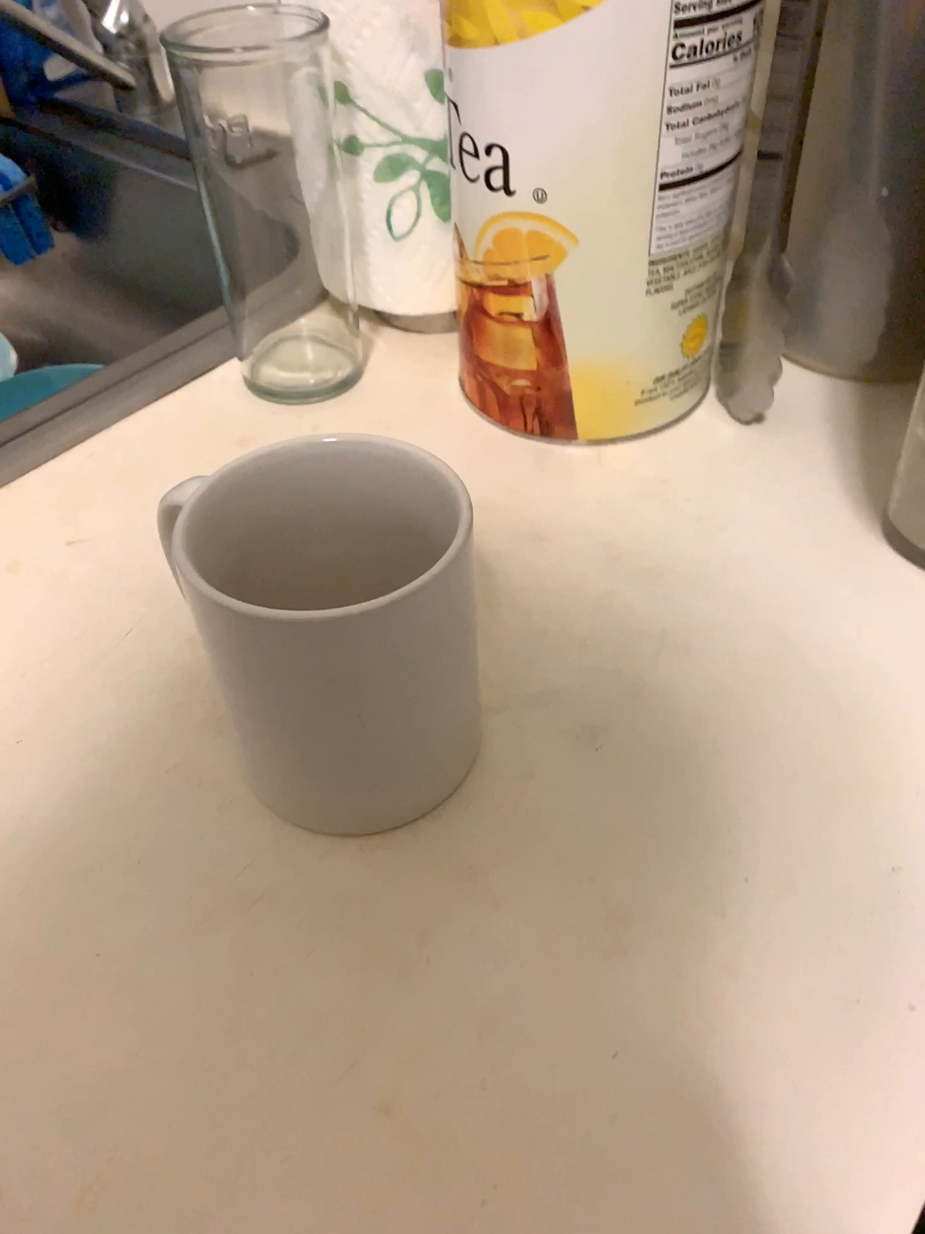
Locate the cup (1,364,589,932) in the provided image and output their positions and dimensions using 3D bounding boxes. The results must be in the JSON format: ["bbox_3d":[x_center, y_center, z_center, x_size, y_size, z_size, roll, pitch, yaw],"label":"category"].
[{"bbox_3d":[-0.046,0.005,0.309,0.140,0.109,0.090,23,50,23],"label":"cup"}]
